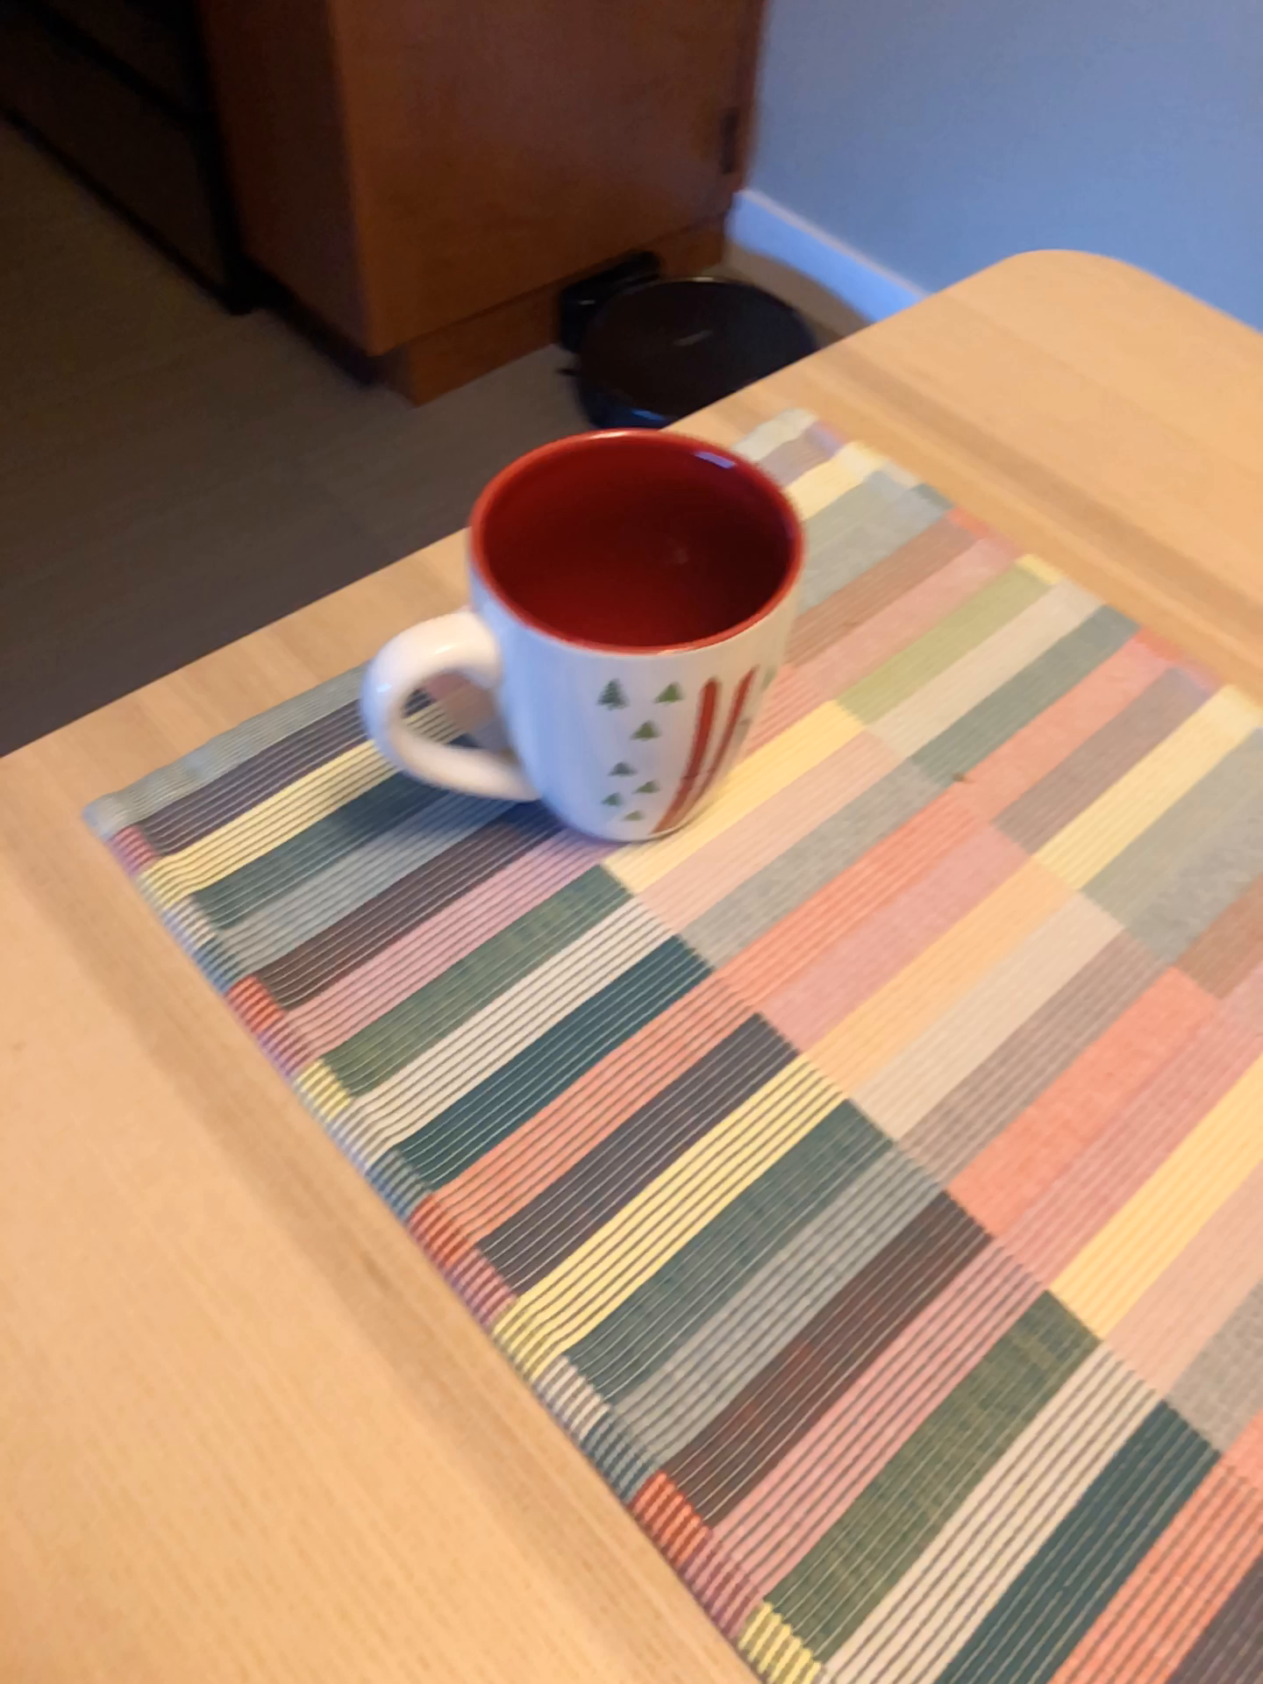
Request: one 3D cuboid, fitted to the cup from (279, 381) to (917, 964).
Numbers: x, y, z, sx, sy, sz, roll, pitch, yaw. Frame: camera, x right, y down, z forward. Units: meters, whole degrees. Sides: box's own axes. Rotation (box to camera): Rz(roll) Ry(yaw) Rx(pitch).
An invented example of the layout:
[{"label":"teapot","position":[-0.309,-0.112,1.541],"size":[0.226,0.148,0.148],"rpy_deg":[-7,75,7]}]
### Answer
[{"label":"cup","position":[-0.012,-0.052,0.407],"size":[0.140,0.090,0.100],"rpy_deg":[-20,56,-19]}]
